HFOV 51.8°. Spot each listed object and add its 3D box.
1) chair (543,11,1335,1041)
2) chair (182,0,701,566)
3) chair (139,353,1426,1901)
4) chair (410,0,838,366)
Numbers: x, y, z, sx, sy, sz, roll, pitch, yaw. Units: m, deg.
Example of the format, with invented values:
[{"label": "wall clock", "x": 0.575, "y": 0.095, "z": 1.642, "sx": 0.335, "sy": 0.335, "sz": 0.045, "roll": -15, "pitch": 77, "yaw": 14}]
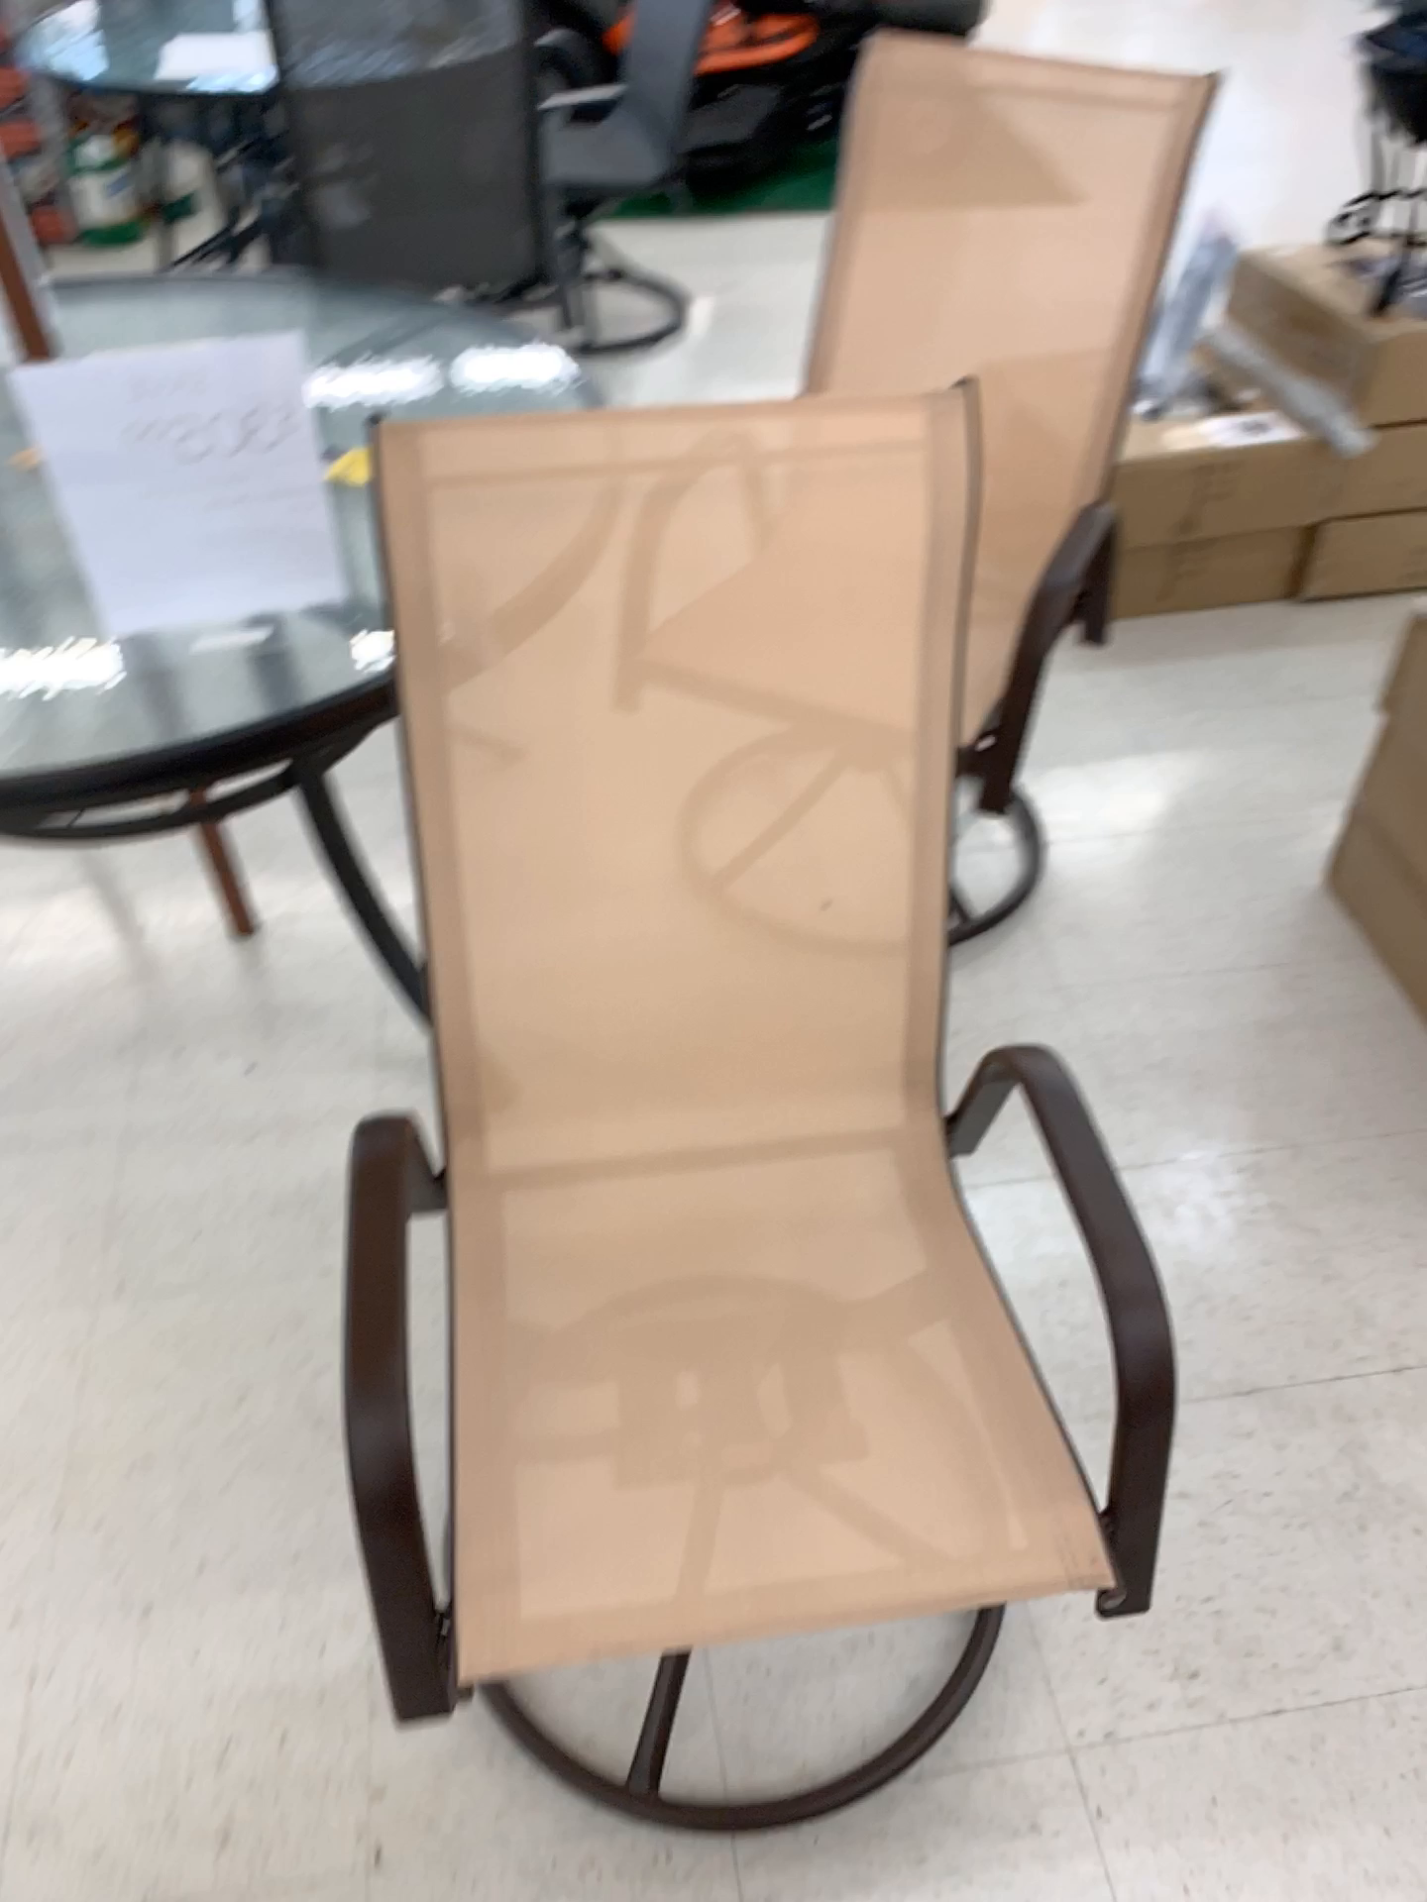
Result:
[{"label": "chair", "x": 0.261, "y": -0.545, "z": 1.881, "sx": 0.569, "sy": 0.957, "sz": 0.709, "roll": 25, "pitch": 49, "yaw": 24}, {"label": "chair", "x": -0.444, "y": -1.315, "z": 2.584, "sx": 0.569, "sy": 0.917, "sz": 0.710, "roll": -21, "pitch": 47, "yaw": -22}, {"label": "chair", "x": 0.016, "y": 0.167, "z": 1.147, "sx": 0.568, "sy": 0.957, "sz": 0.710, "roll": -6, "pitch": 44, "yaw": -7}, {"label": "chair", "x": -0.190, "y": -1.799, "z": 3.023, "sx": 0.707, "sy": 0.917, "sz": 0.571, "roll": -8, "pitch": 44, "yaw": -9}]
